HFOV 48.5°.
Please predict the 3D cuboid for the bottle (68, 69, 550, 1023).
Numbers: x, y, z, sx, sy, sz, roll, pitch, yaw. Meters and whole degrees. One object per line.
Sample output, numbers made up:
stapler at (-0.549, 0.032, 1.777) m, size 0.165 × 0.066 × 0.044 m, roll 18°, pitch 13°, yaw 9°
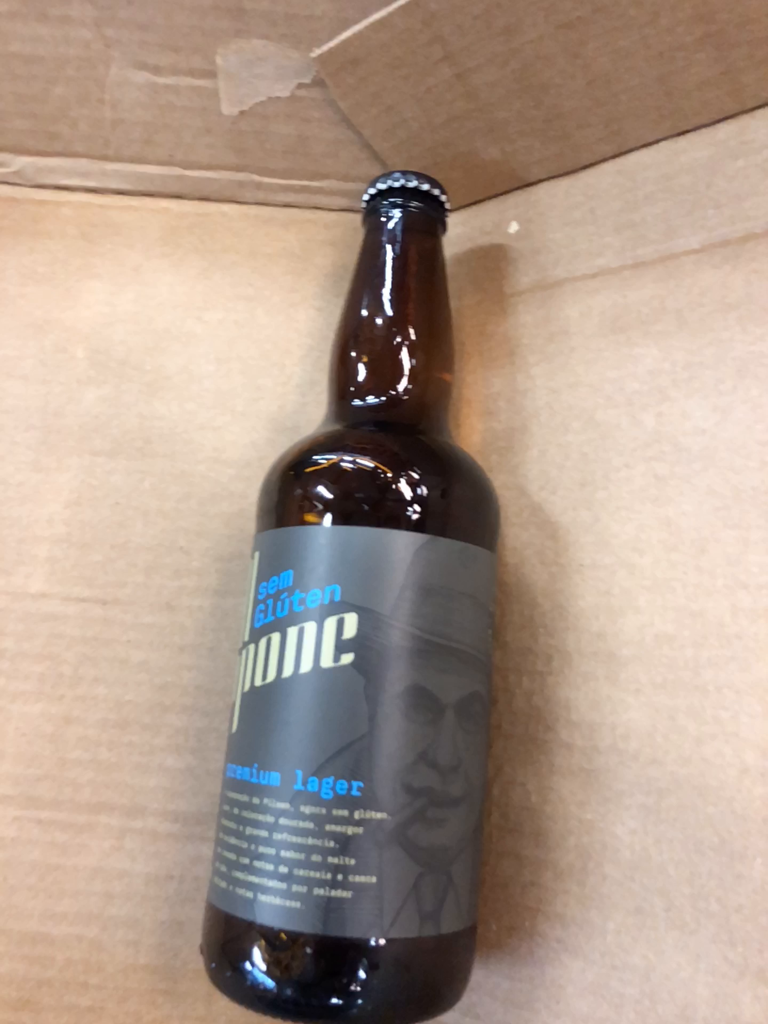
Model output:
bottle at (-0.008, 0.010, 0.228) m, size 0.080 × 0.060 × 0.240 m, roll -1°, pitch 73°, yaw 24°
